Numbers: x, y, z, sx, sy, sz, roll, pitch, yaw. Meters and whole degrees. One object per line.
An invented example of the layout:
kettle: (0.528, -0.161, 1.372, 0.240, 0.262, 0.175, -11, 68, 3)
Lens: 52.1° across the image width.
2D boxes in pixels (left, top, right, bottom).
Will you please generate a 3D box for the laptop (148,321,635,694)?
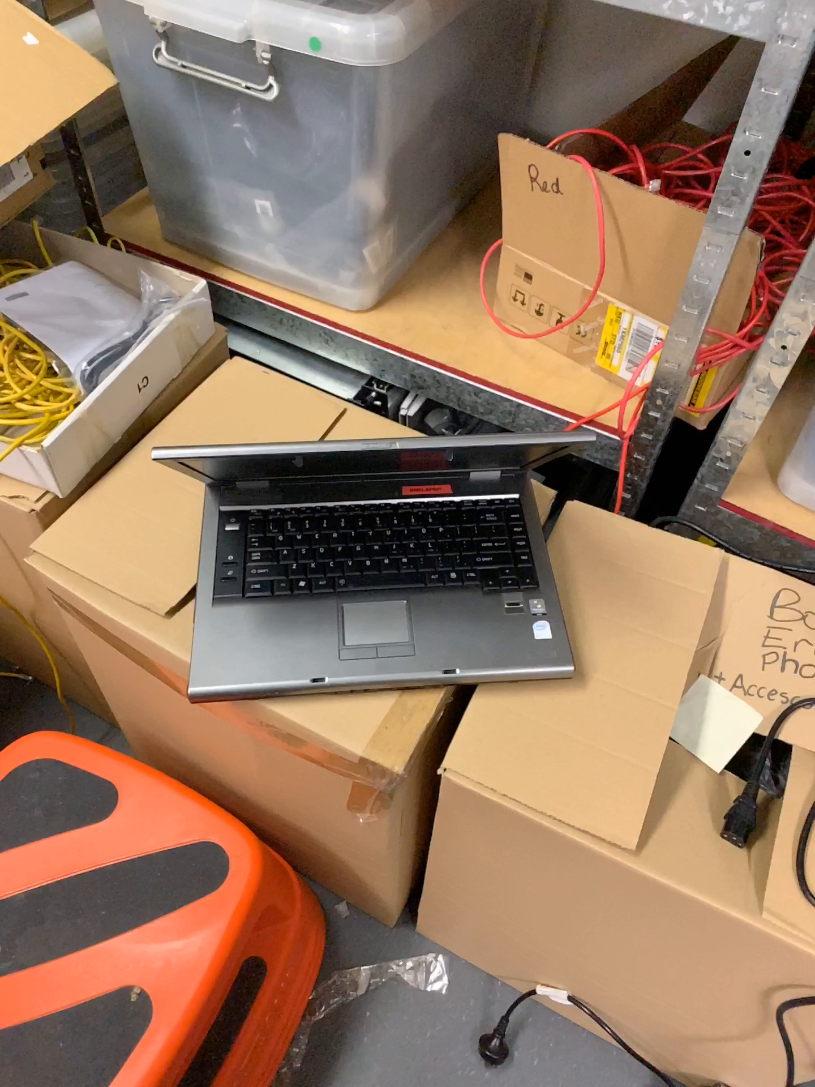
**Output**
laptop: (-0.026, -0.034, 0.759, 0.352, 0.203, 0.254, -3, 52, -4)
